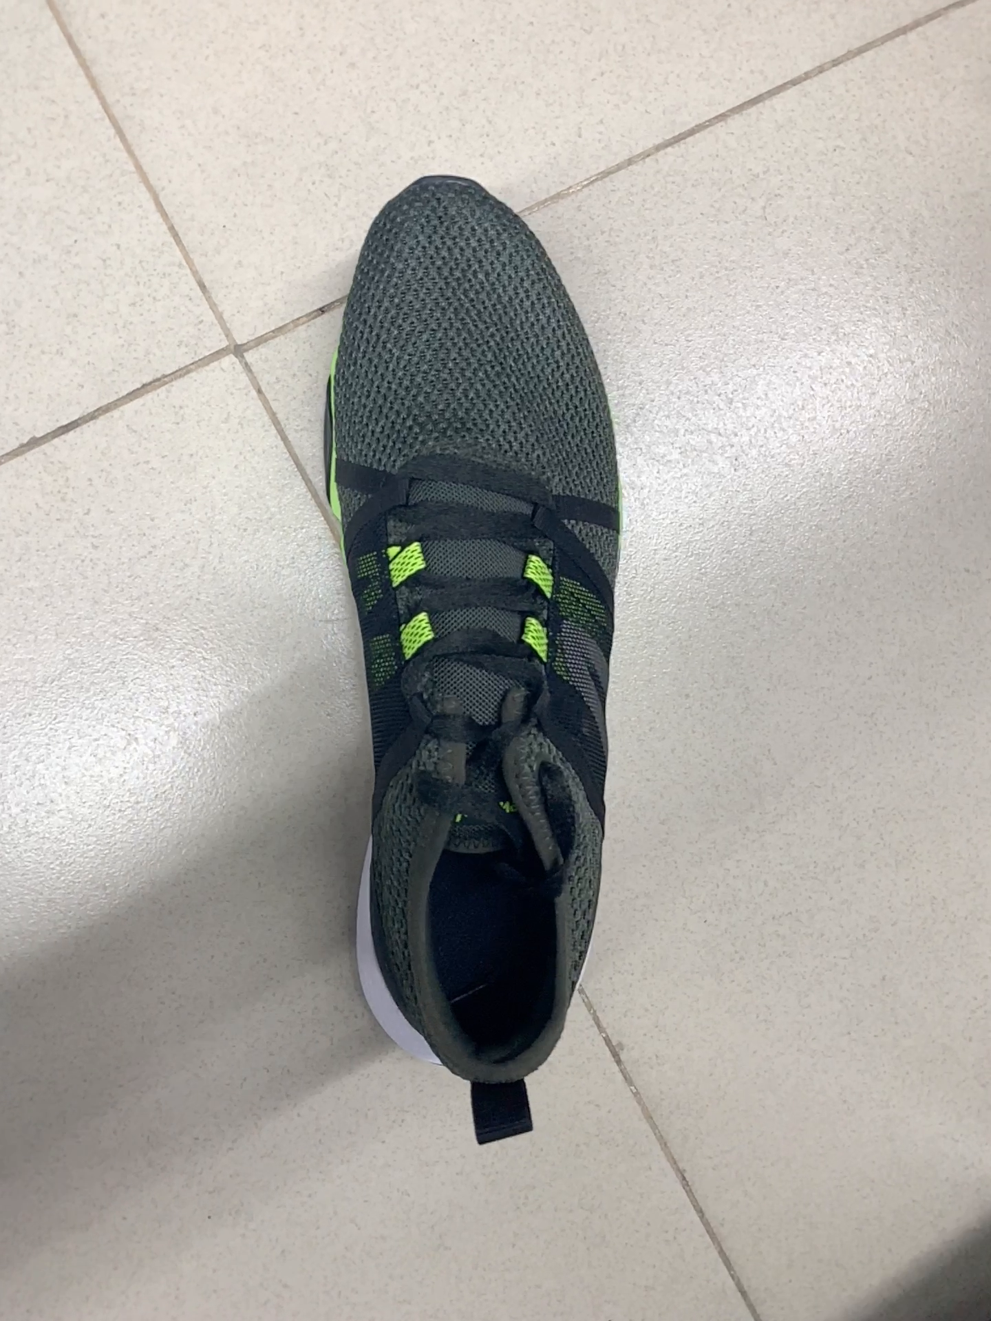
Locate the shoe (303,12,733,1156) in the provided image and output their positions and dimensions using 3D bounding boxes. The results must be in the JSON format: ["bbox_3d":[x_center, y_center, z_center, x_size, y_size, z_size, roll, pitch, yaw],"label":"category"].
[{"bbox_3d":[0.002,-0.020,0.324,0.110,0.100,0.300,-2,92,-8],"label":"shoe"}]
